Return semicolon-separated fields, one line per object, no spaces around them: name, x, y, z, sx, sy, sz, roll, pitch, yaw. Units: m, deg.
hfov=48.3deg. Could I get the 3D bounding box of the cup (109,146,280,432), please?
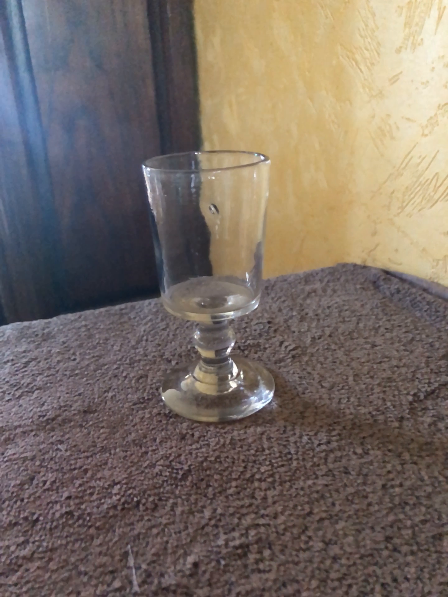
cup;-0.011;-0.007;0.226;0.060;0.109;0.060;-3;23;1
